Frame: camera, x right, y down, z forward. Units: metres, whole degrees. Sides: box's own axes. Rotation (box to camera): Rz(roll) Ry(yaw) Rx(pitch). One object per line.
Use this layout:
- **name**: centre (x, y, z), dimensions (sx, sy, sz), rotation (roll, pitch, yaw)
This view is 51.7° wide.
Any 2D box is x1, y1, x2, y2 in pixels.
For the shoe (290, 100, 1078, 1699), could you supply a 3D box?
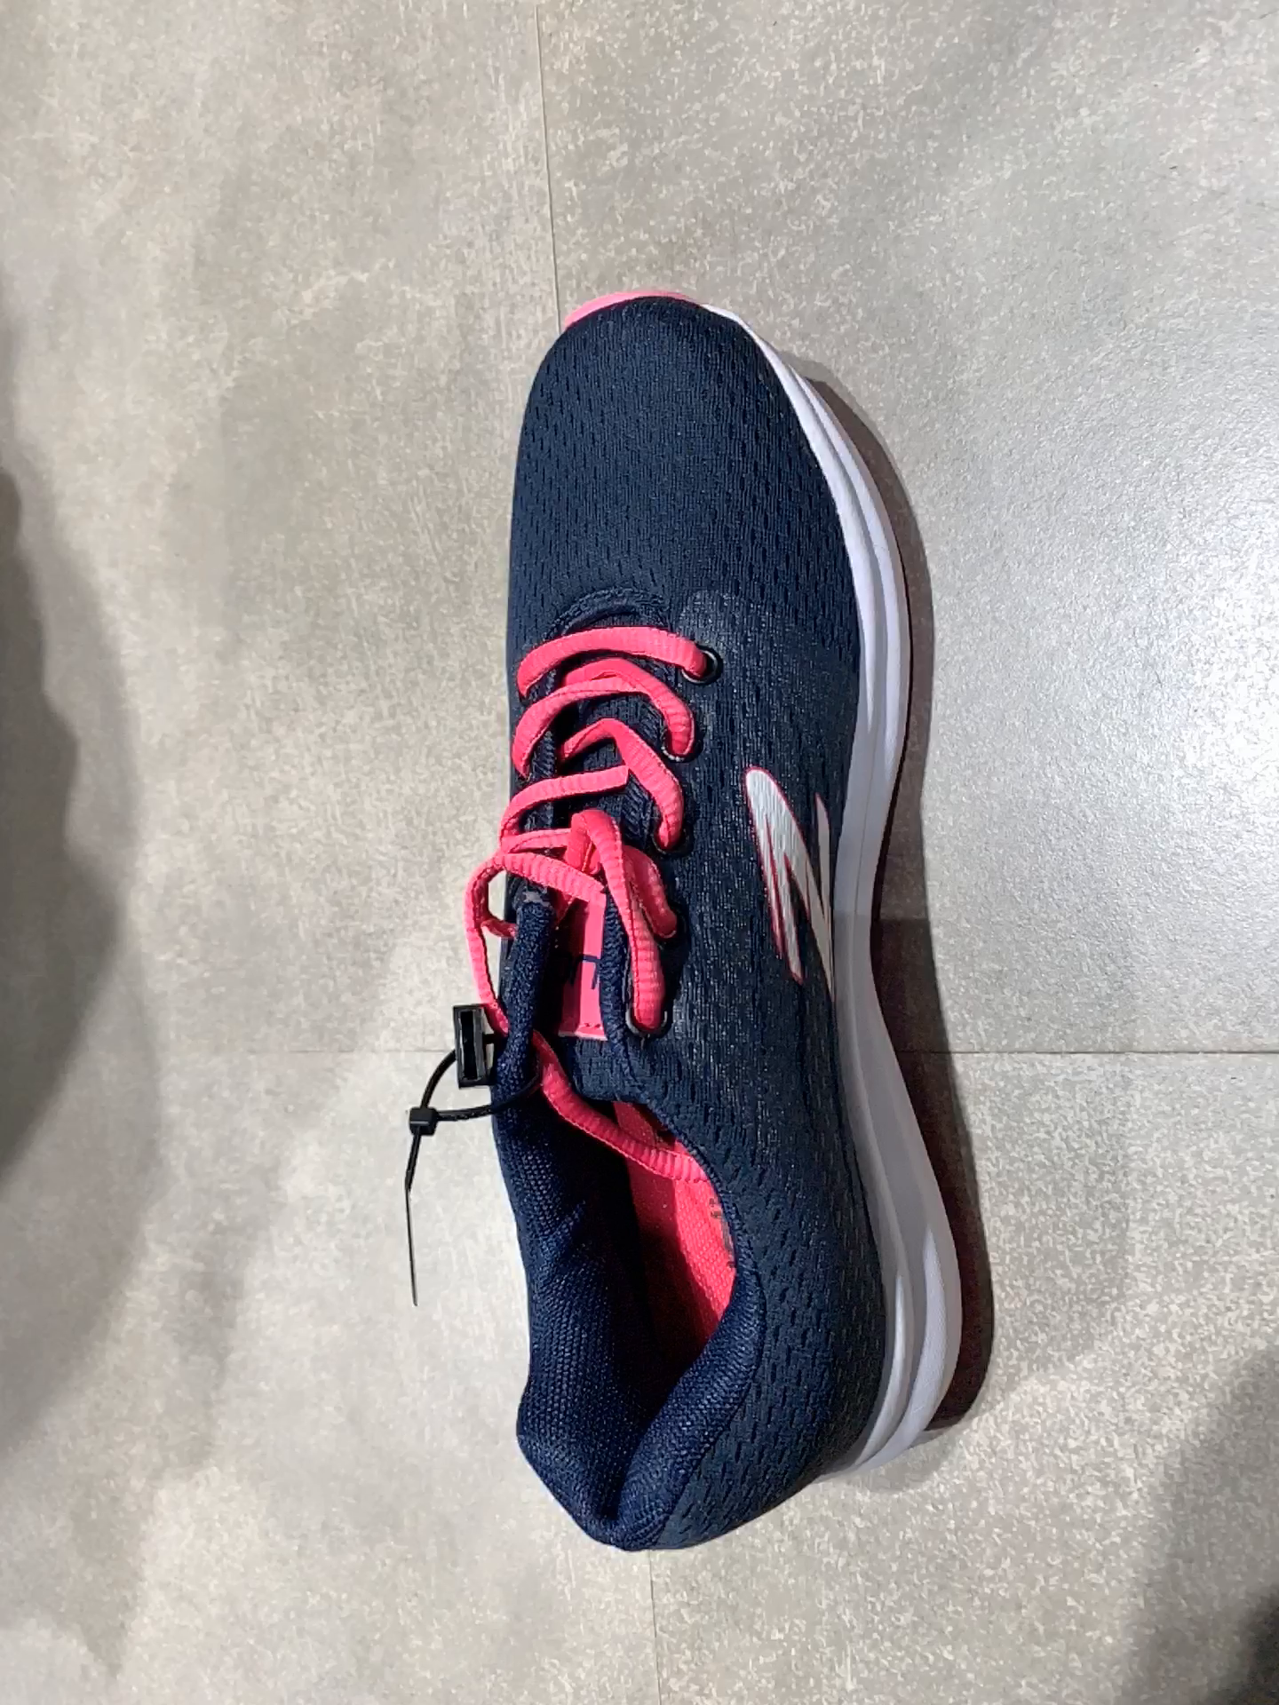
- **shoe**: centre (0.009, 0.008, 0.266), dimensions (0.095, 0.090, 0.248), rotation (-10, 85, 34)
